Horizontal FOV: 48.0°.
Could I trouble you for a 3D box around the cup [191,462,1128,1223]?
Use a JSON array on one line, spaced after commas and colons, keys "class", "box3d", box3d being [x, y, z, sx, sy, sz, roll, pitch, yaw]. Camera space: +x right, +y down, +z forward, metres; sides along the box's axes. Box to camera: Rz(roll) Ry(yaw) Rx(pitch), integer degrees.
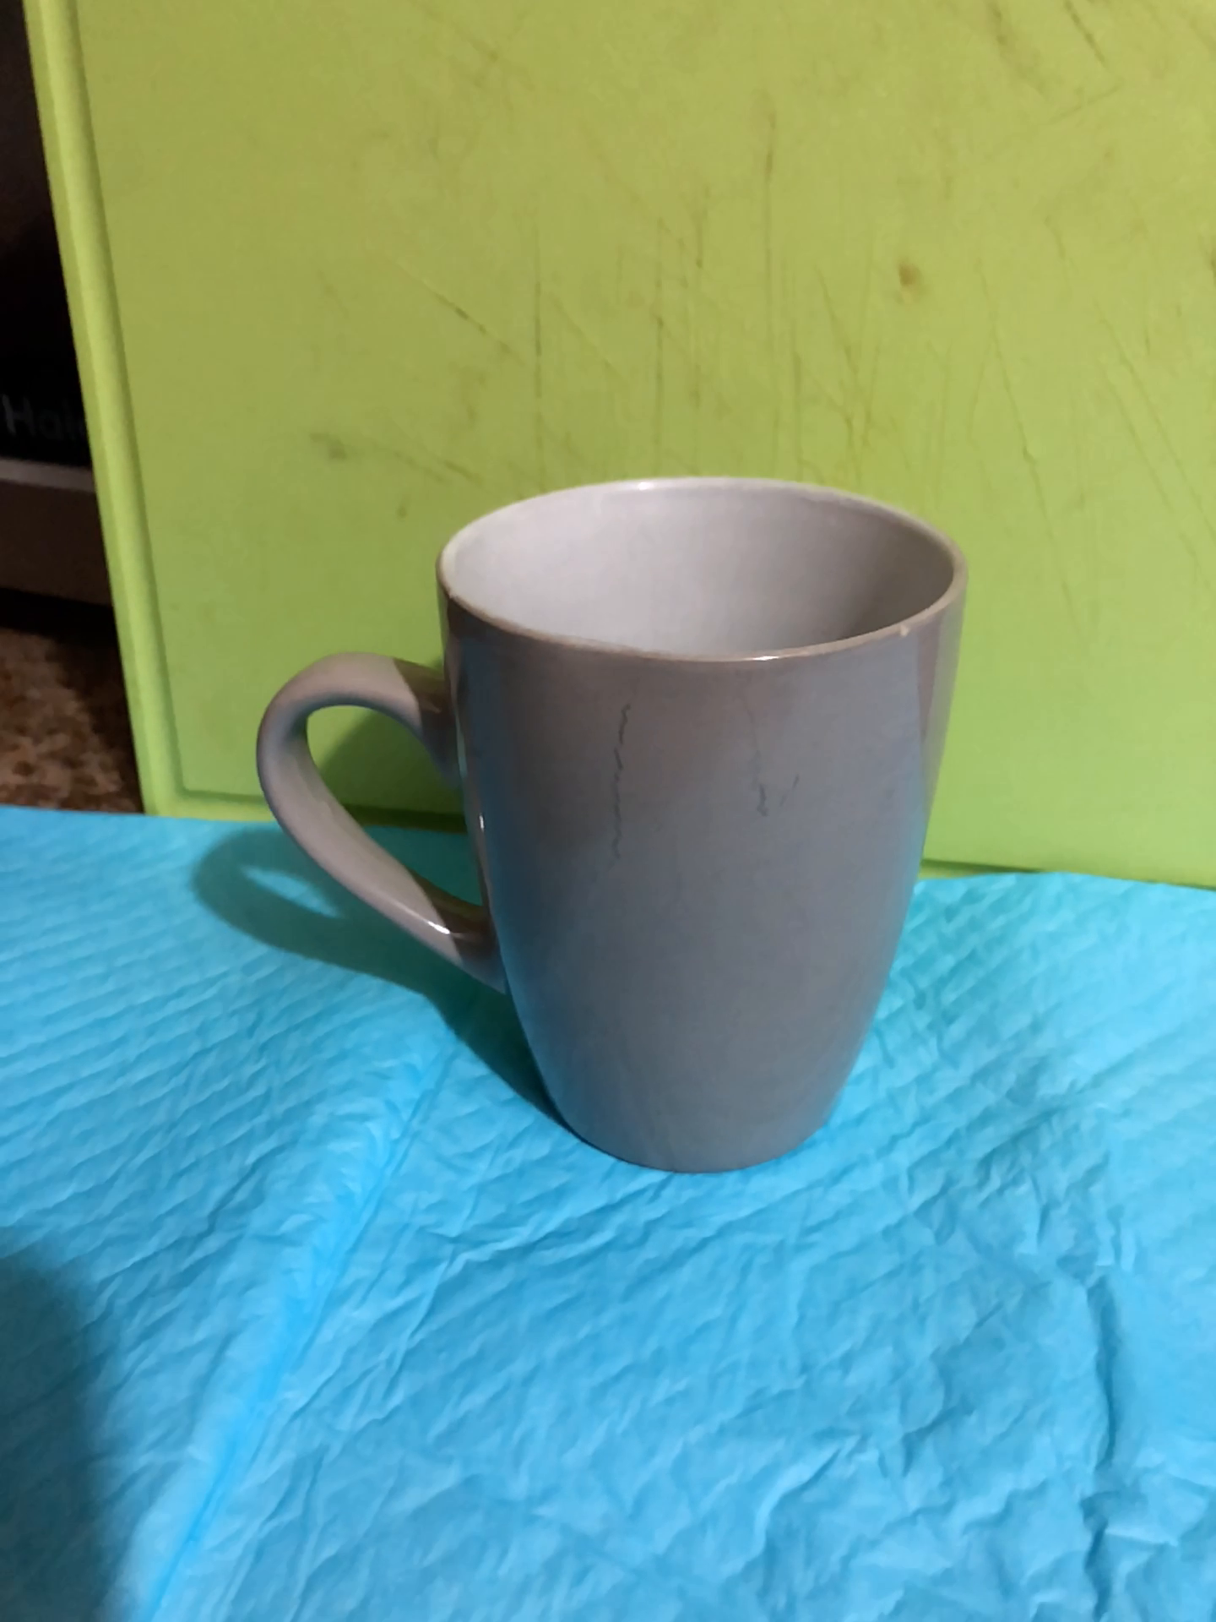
[{"class": "cup", "box3d": [0.004, 0.001, 0.211, 0.110, 0.090, 0.070, -2, 29, -5]}]
